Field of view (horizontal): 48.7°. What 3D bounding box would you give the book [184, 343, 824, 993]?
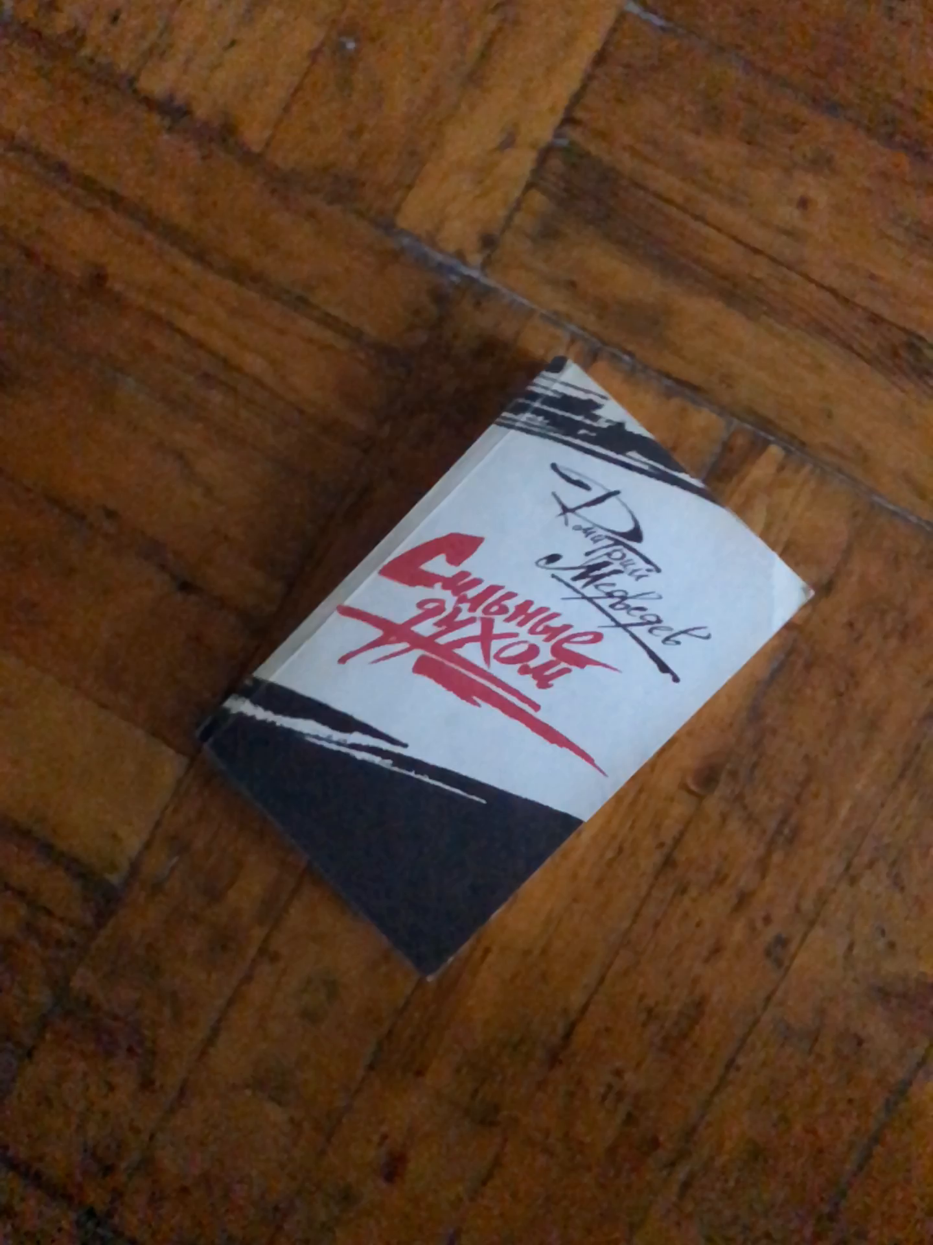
[{"bbox_3d":[0.014,0.018,0.420,0.140,0.050,0.210,43,92,3],"label":"book"}]
